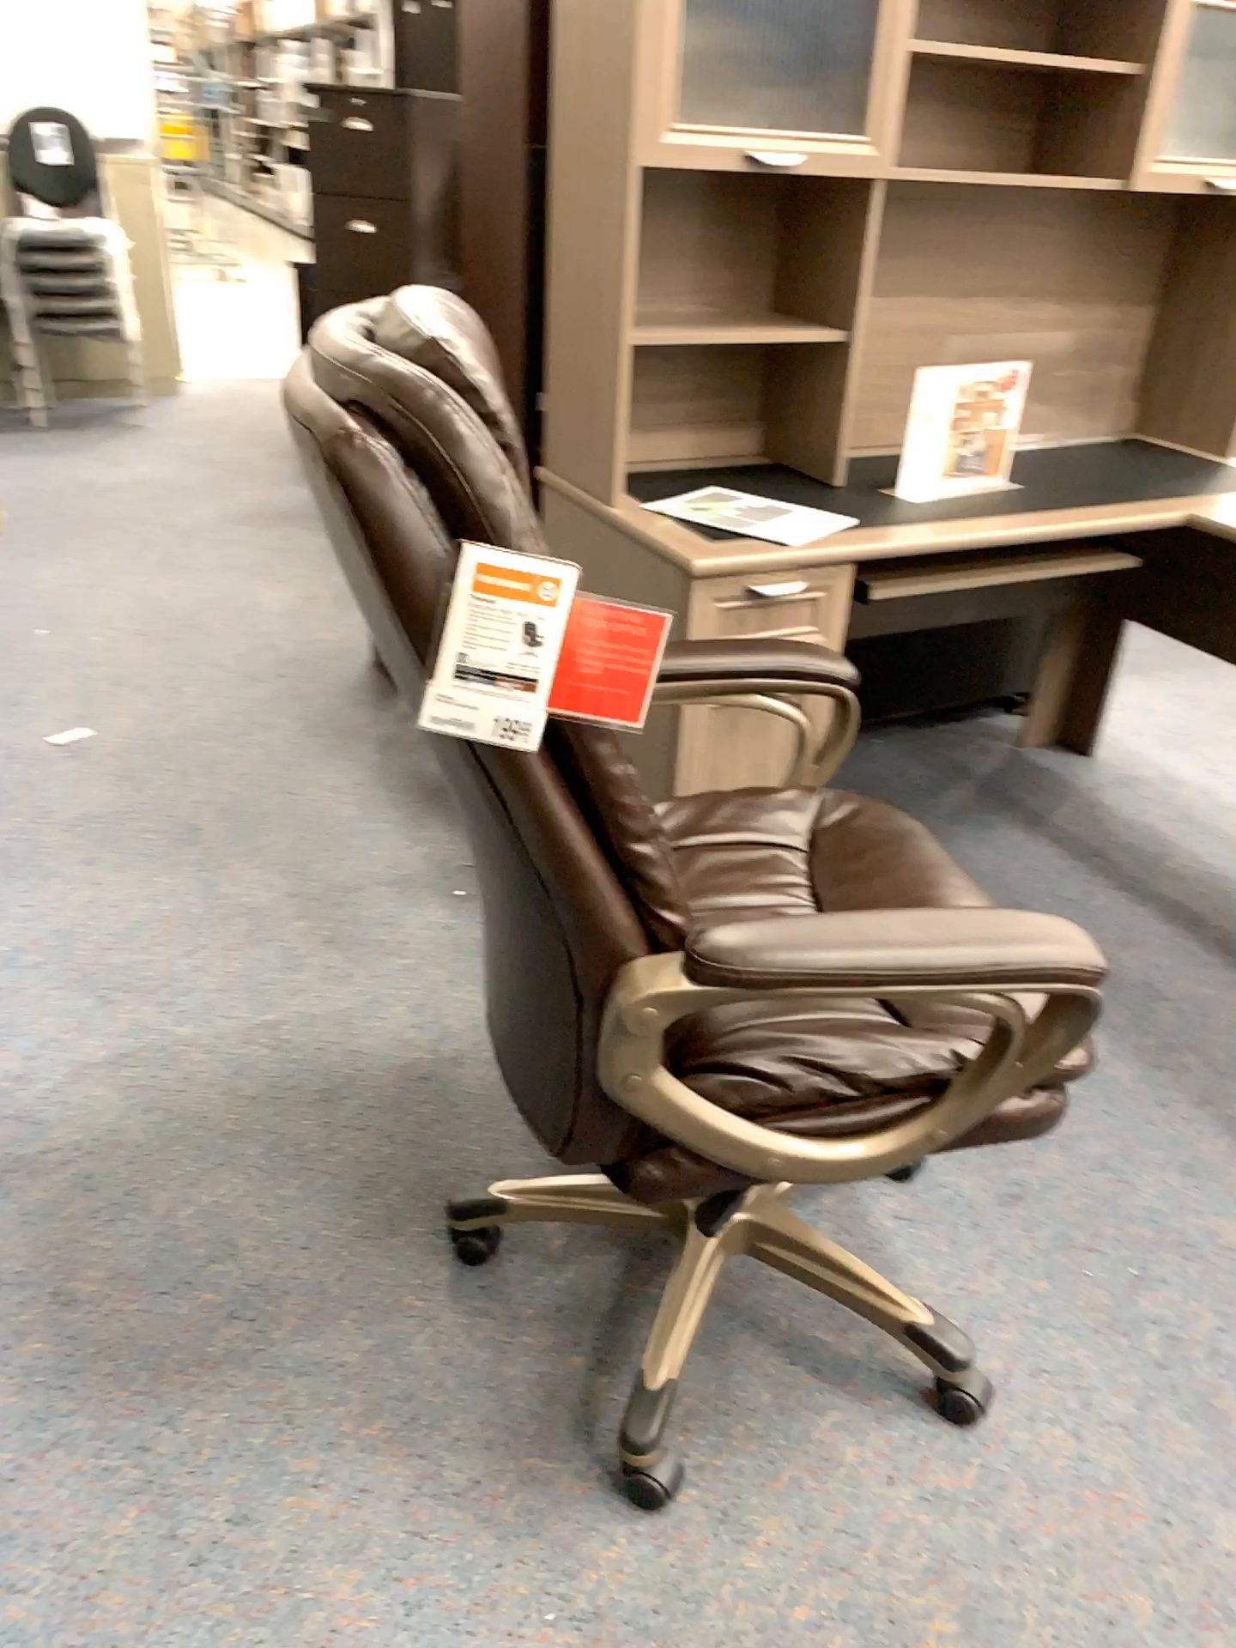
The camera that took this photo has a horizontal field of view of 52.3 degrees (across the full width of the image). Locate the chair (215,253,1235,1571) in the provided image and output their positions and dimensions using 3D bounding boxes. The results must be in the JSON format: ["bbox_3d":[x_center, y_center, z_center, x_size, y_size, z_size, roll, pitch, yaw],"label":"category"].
[{"bbox_3d":[0.103,0.053,1.333,0.811,1.112,0.728,-1,29,-8],"label":"chair"}]
